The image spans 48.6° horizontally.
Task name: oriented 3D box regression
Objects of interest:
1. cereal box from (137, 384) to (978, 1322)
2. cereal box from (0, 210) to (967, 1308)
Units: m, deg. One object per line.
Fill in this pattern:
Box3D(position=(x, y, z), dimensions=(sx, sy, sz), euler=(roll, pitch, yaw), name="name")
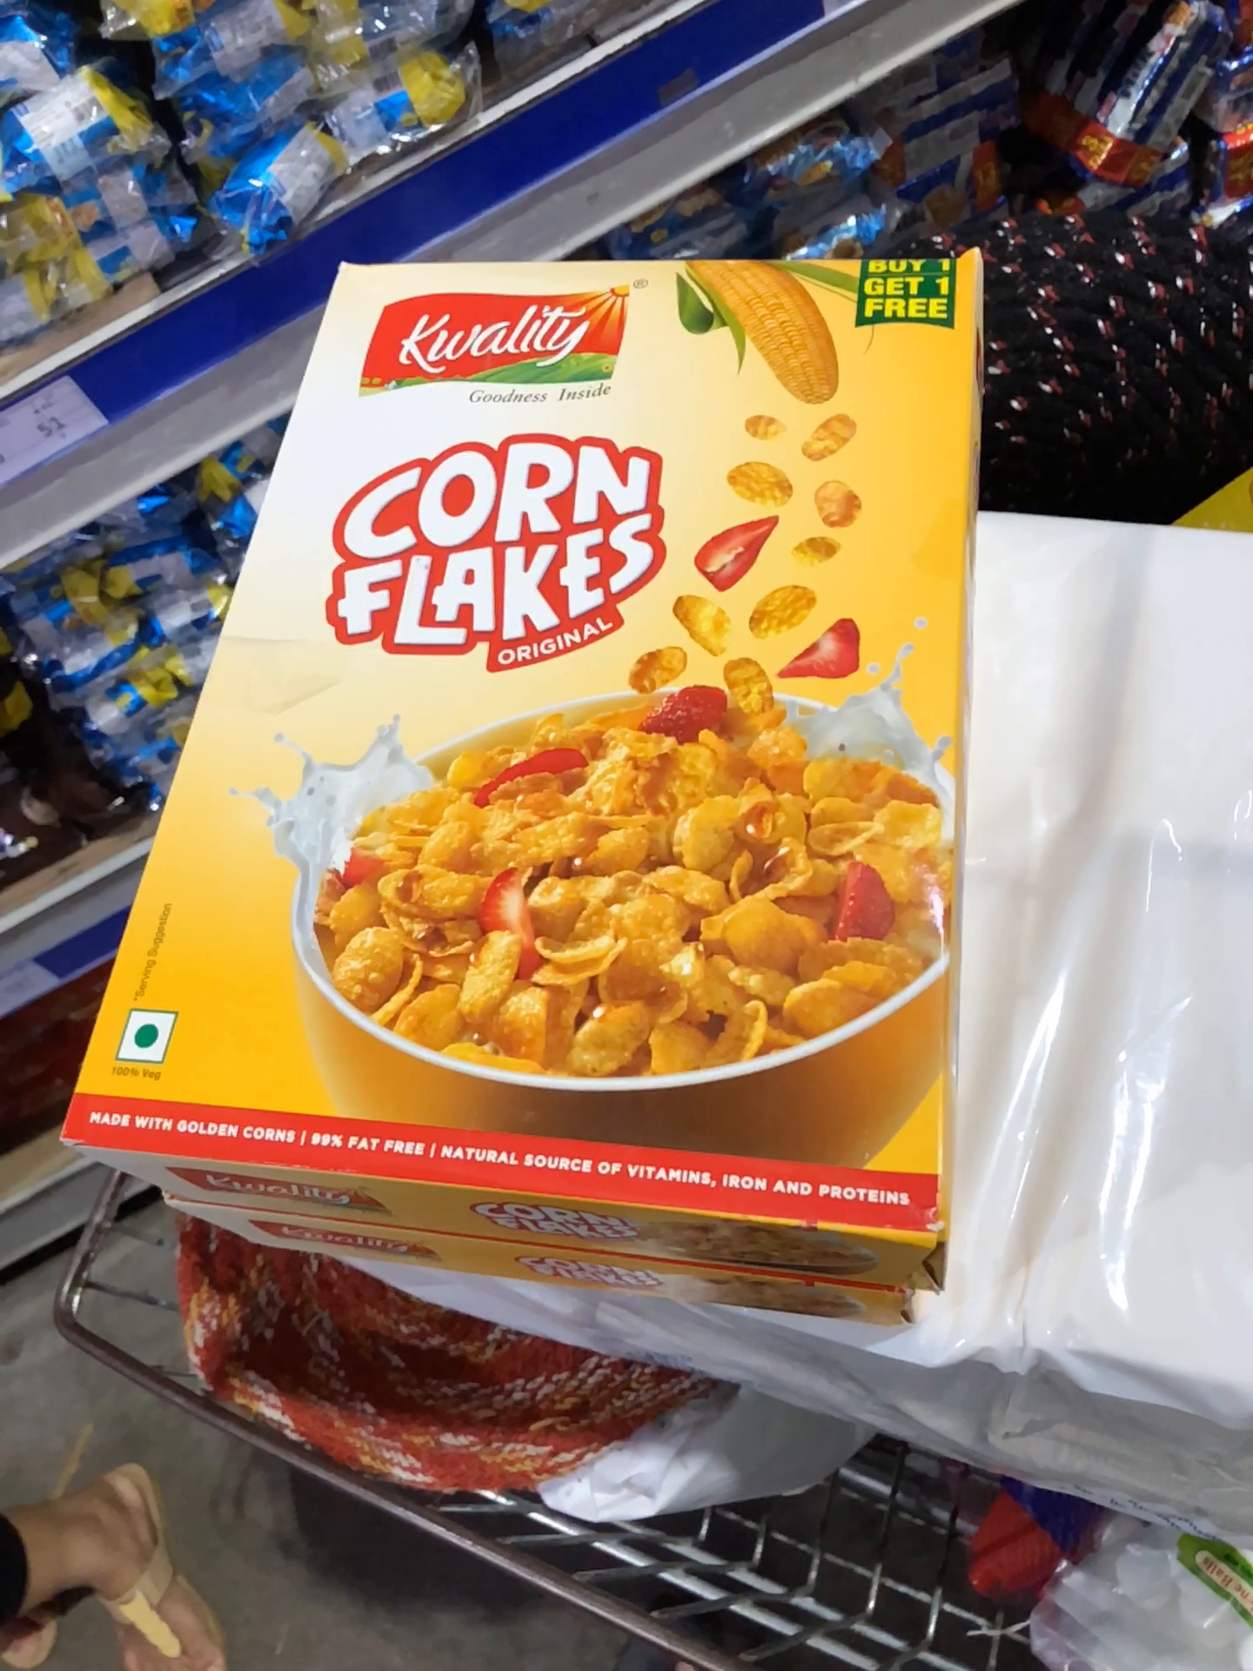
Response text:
Box3D(position=(-0.003, -0.007, 0.414), dimensions=(0.200, 0.070, 0.261), euler=(3, 65, 12), name="cereal box")
Box3D(position=(-0.018, -0.033, 0.345), dimensions=(0.190, 0.060, 0.261), euler=(3, 65, 12), name="cereal box")
